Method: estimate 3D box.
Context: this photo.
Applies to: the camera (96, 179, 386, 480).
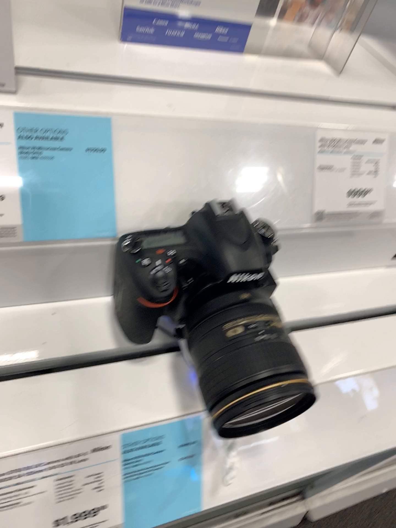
[{"bbox_3d":[0.013,0.039,0.325,0.140,0.111,0.181,-9,54,-25],"label":"camera"}]
